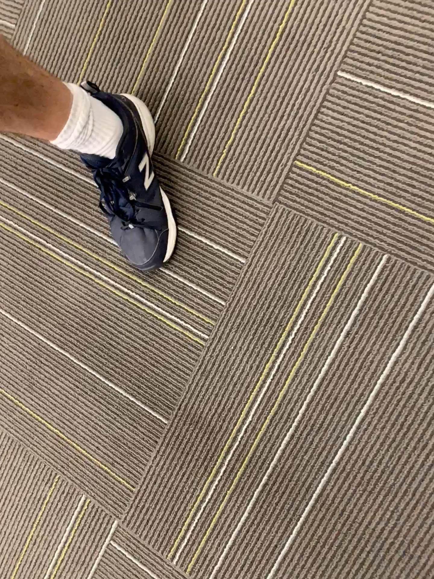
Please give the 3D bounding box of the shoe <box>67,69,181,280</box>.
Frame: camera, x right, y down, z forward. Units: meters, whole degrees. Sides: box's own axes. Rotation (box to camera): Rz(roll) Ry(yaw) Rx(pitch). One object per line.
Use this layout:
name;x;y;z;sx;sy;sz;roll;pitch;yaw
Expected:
shoe;-0.154;-0.179;0.737;0.130;0.070;0.310;-9;88;20
